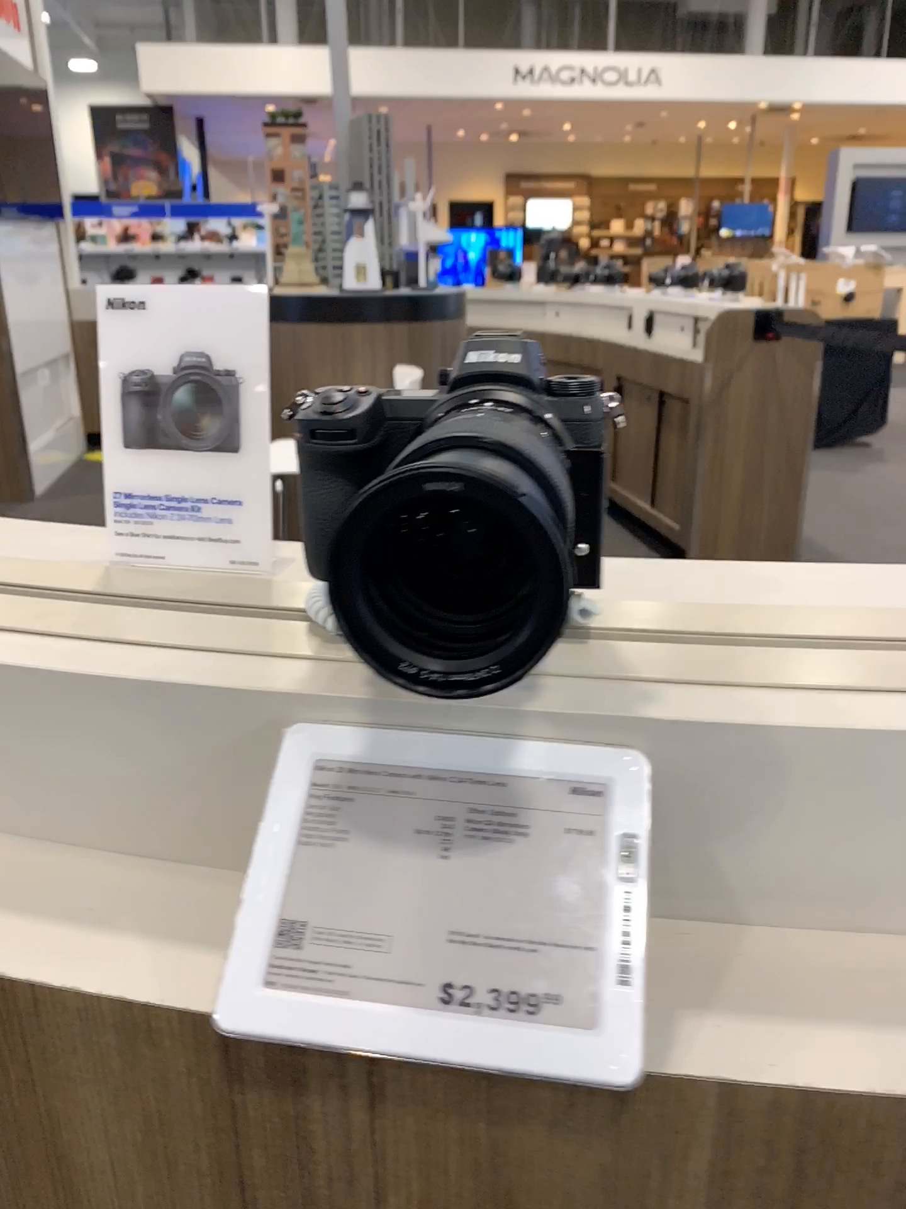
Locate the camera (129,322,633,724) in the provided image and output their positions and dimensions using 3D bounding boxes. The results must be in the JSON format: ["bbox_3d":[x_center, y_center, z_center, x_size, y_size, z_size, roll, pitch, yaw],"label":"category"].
[{"bbox_3d":[-0.006,-0.051,0.369,0.140,0.099,0.211,2,21,8],"label":"camera"}]
